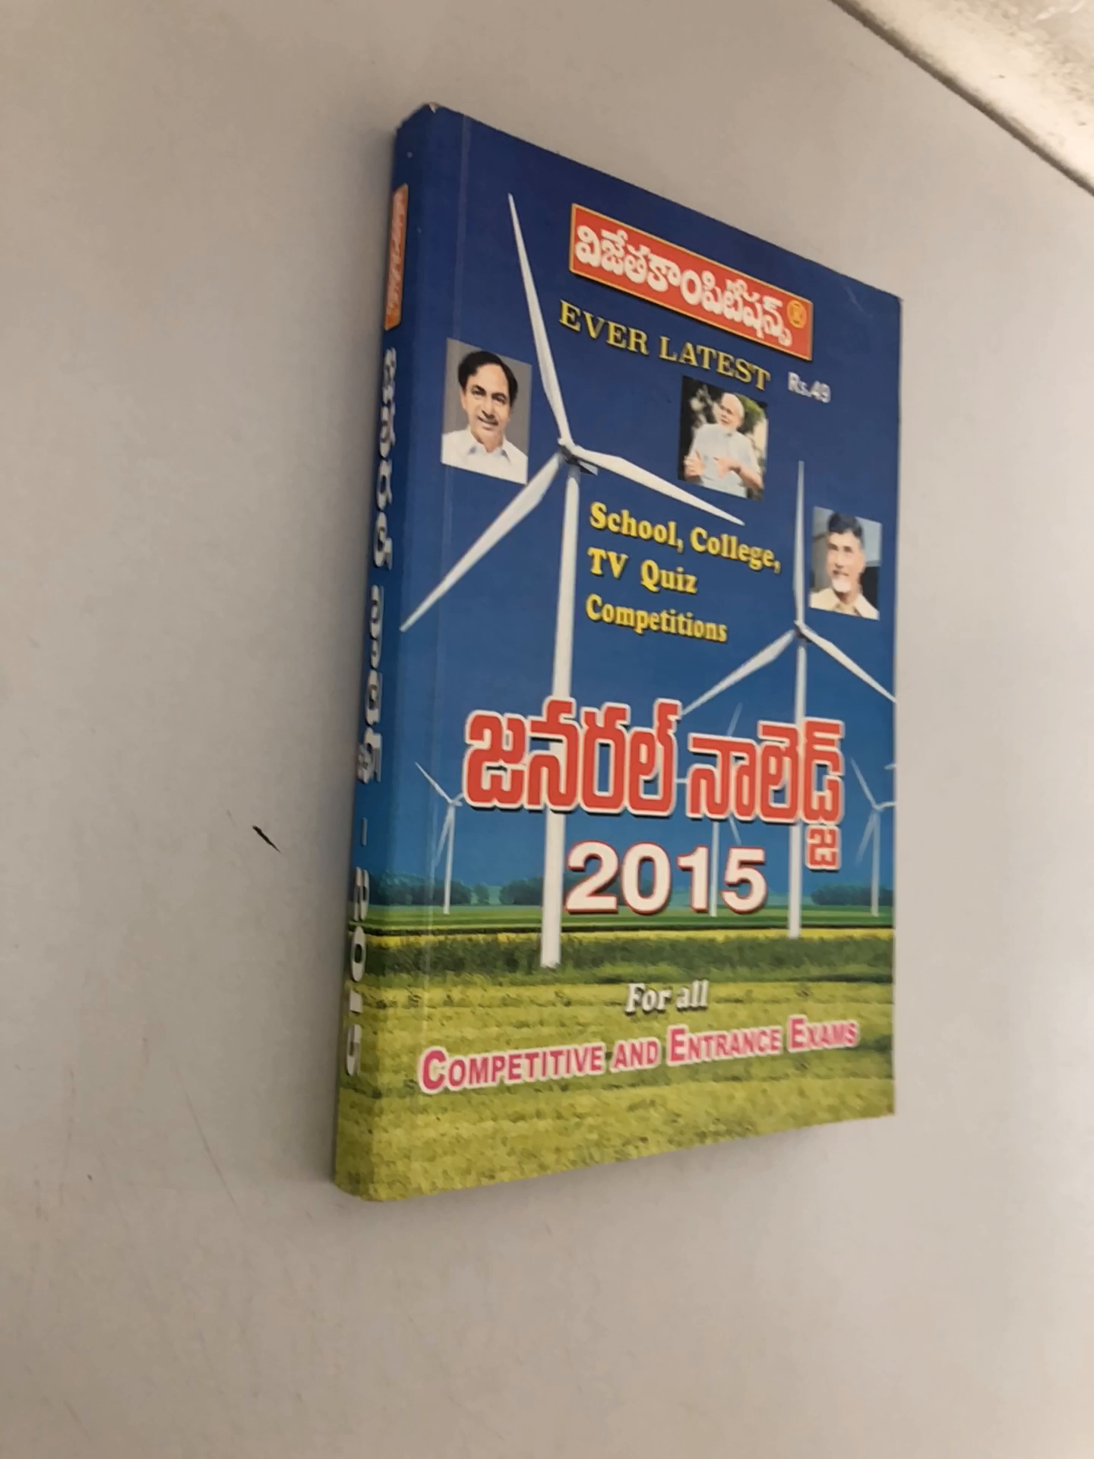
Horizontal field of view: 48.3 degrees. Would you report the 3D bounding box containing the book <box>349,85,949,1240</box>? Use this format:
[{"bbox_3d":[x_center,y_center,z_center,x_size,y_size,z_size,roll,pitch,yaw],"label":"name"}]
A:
[{"bbox_3d":[0.029,-0.009,0.238,0.129,0.022,0.182,5,84,-36],"label":"book"}]
